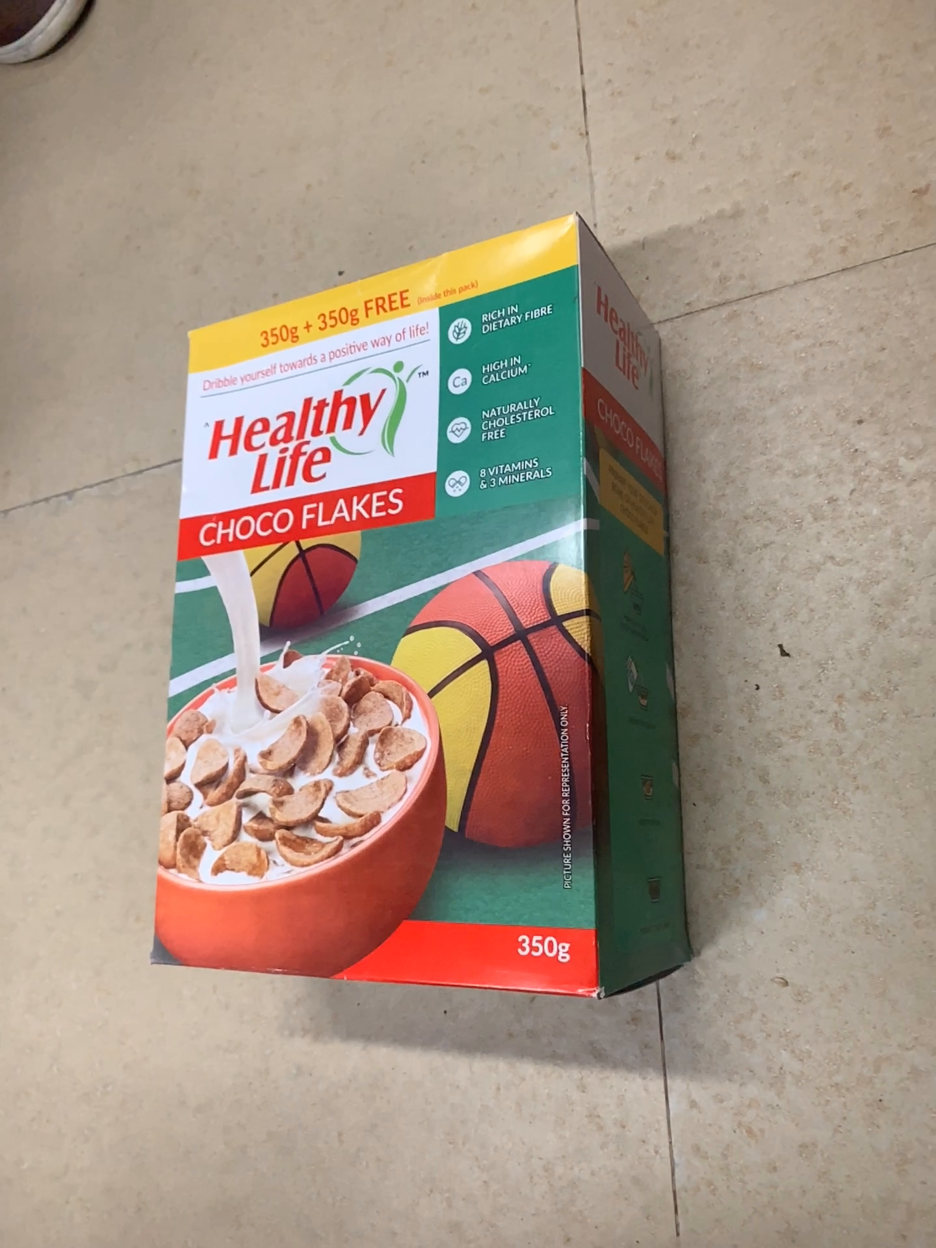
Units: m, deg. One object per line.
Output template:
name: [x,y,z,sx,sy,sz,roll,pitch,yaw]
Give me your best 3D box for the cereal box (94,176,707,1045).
cereal box: [-0.024,0.003,0.392,0.201,0.110,0.280,-7,75,26]
